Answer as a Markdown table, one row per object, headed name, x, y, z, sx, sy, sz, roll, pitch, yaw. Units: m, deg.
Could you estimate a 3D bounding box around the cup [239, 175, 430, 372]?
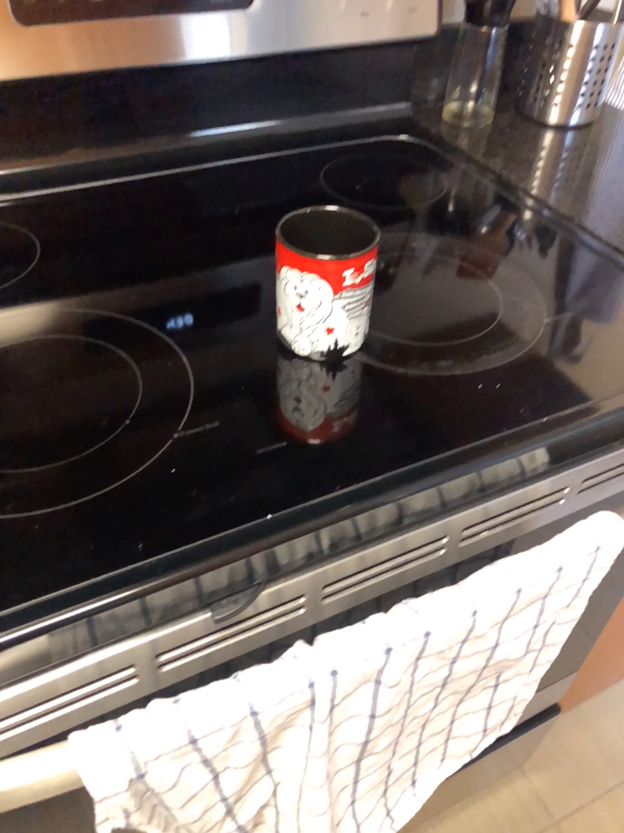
| name | x | y | z | sx | sy | sz | roll | pitch | yaw |
| --- | --- | --- | --- | --- | --- | --- | --- | --- | --- |
| cup | 0.018 | -0.121 | 0.566 | 0.090 | 0.090 | 0.130 | 28 | 48 | 25 |
